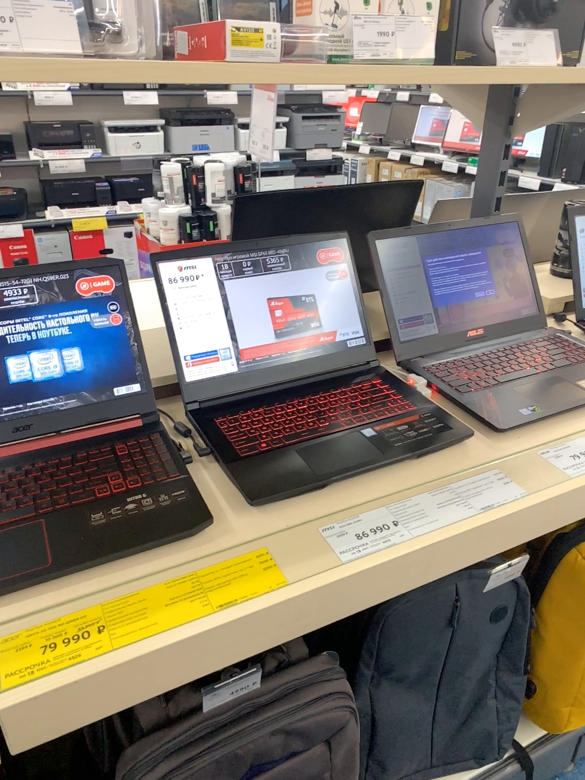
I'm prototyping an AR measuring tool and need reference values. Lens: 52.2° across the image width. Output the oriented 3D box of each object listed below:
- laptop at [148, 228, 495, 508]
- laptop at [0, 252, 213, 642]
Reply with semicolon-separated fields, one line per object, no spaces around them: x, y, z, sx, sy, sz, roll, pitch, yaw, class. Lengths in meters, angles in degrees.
0.020;-0.073;0.880;0.351;0.204;0.371;-13;32;-25;laptop
-0.313;0.011;0.701;0.334;0.211;0.372;-12;31;-23;laptop
